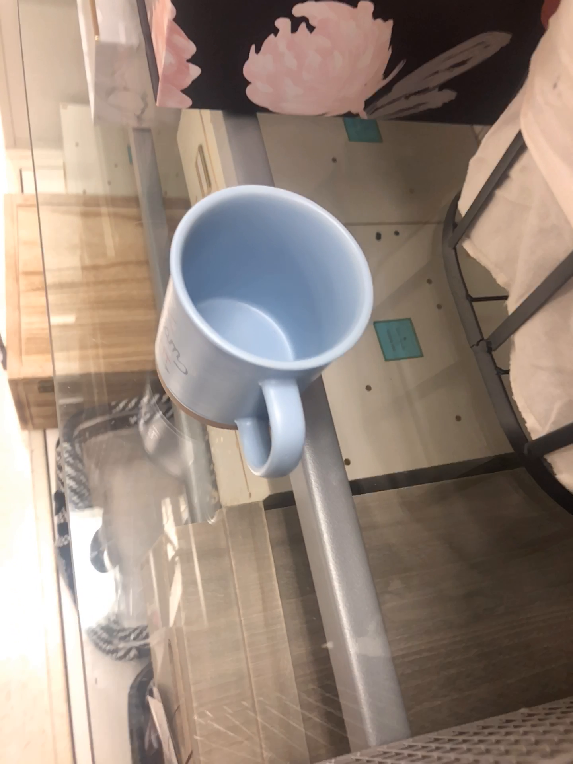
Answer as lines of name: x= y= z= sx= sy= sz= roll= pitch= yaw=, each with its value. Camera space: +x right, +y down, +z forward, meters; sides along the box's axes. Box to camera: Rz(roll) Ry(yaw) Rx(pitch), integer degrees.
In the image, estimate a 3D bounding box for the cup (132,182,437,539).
cup: x=-0.013 y=-0.009 z=0.313 sx=0.100 sy=0.100 sz=0.139 roll=-6 pitch=69 yaw=-20
